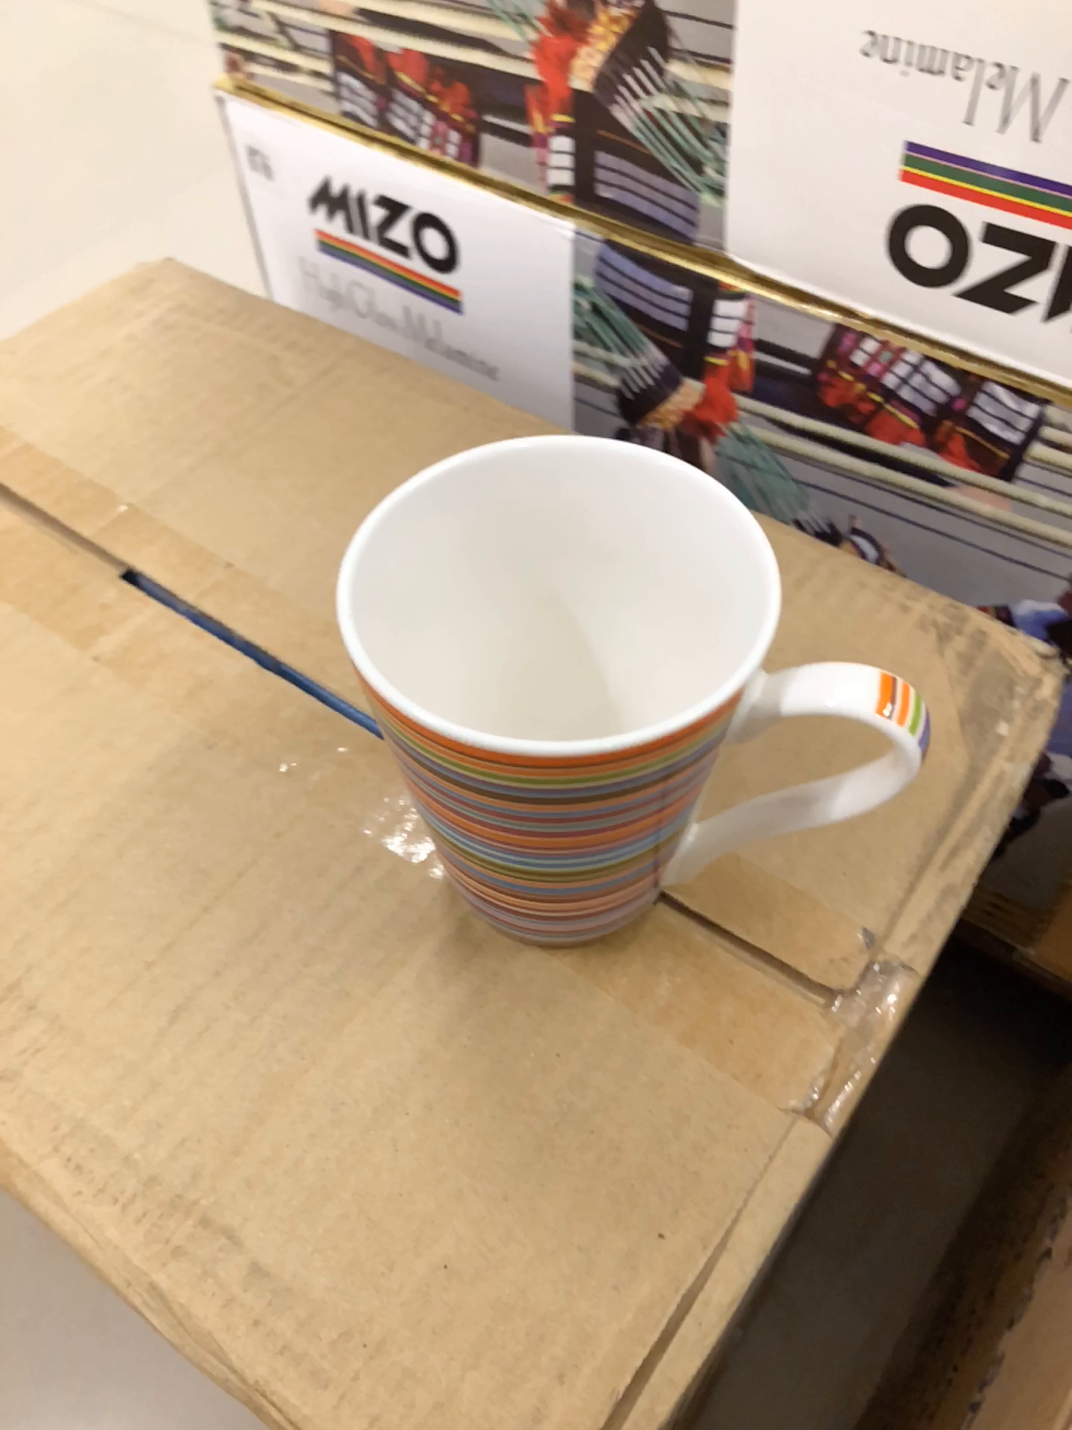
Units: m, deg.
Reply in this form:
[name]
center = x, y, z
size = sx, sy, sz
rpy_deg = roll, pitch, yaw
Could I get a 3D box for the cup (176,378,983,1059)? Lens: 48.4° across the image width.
[cup]
center = 0.013, 0.000, 0.253
size = 0.130, 0.089, 0.080
rpy_deg = 13, 54, 13
